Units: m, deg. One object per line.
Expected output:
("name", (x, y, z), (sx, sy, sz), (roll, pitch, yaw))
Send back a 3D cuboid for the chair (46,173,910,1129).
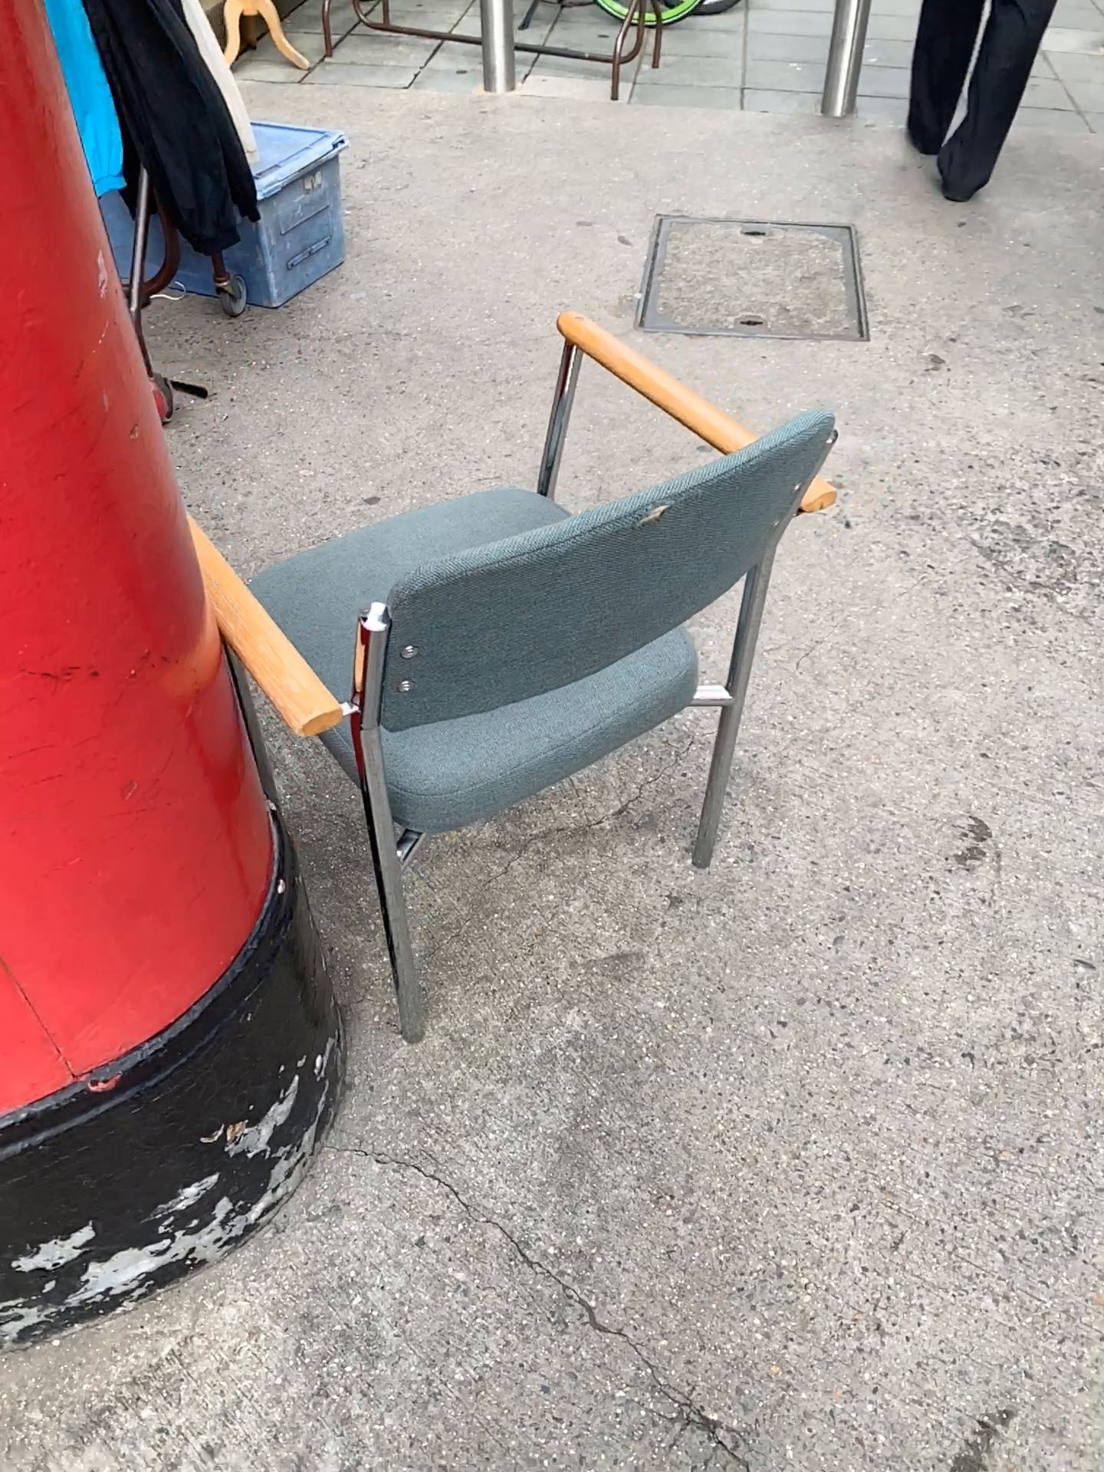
("chair", (-0.083, -0.105, 1.269), (0.559, 0.739, 0.573), (-27, 51, -24))
